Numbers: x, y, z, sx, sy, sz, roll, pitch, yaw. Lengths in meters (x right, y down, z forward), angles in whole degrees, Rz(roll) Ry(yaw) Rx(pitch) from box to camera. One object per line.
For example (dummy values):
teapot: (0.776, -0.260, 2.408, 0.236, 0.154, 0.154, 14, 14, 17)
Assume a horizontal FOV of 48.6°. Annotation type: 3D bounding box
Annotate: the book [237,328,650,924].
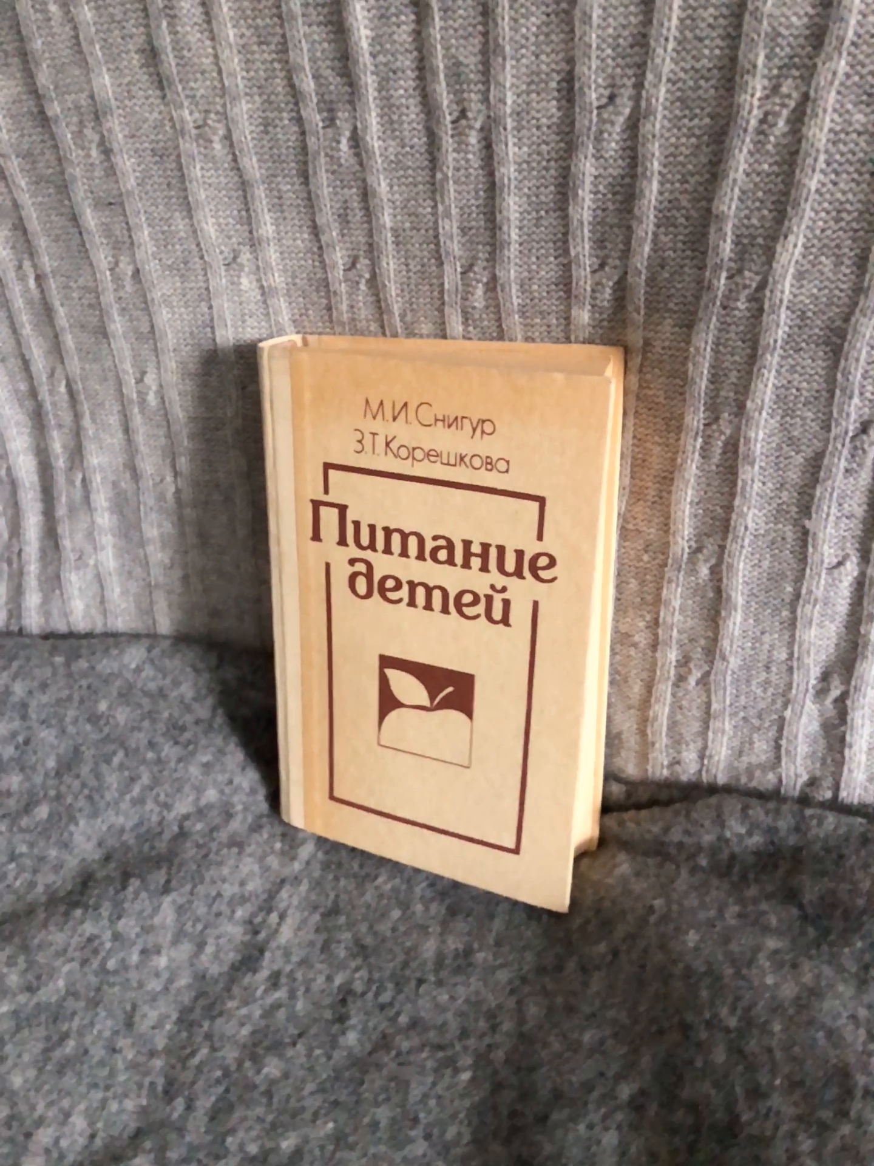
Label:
book: (0.001, 0.015, 0.376, 0.139, 0.212, 0.041, 8, 22, 21)
